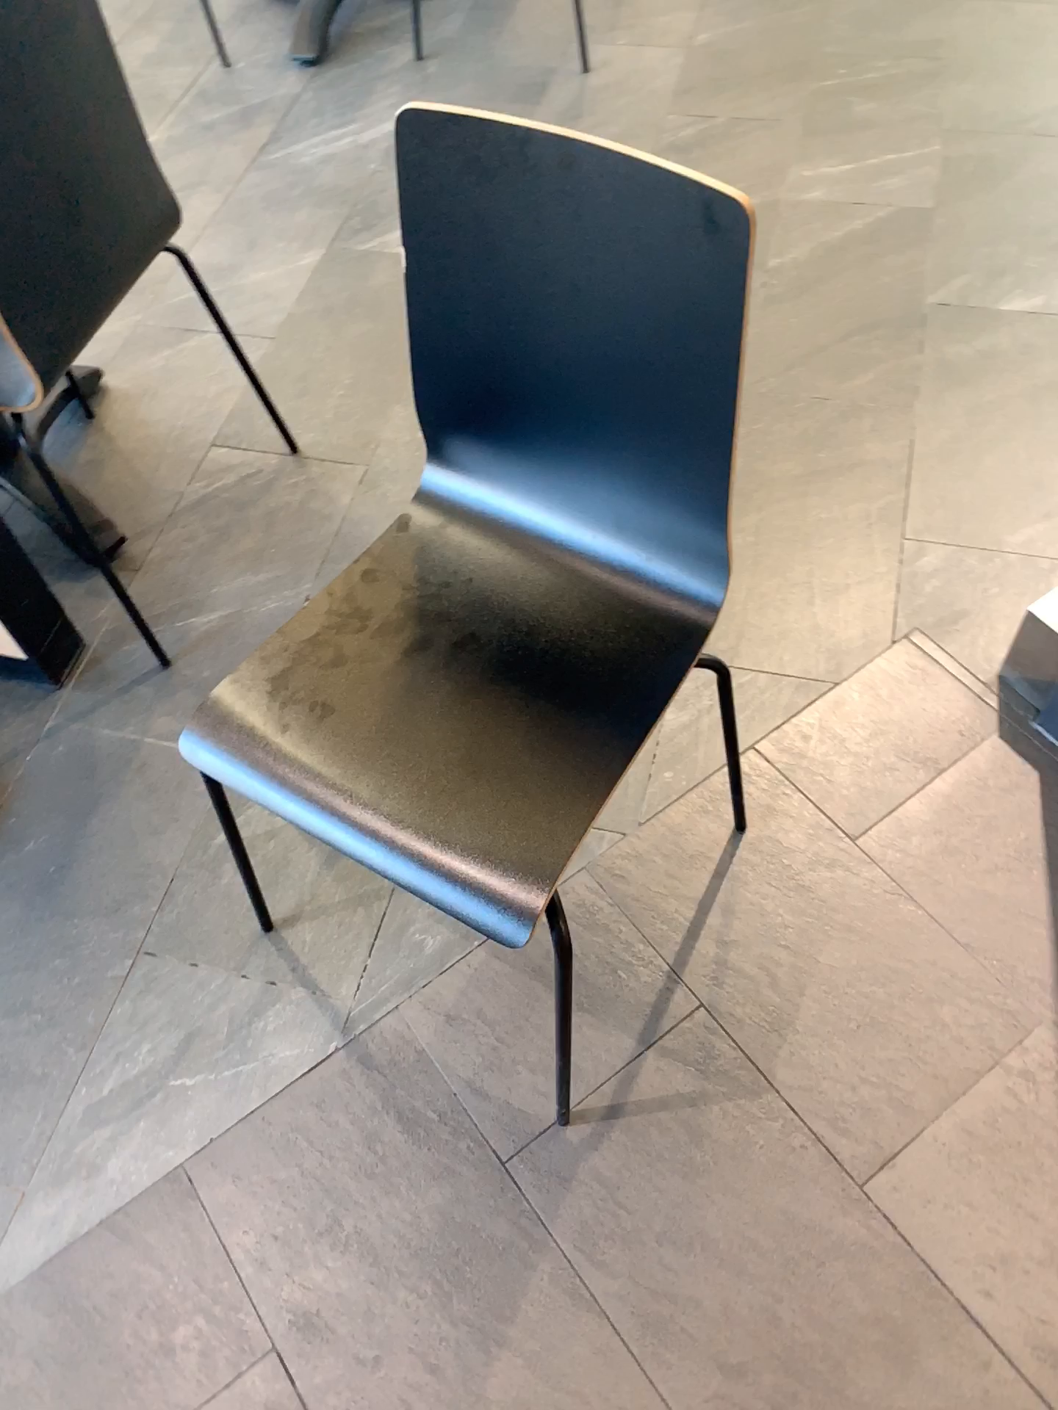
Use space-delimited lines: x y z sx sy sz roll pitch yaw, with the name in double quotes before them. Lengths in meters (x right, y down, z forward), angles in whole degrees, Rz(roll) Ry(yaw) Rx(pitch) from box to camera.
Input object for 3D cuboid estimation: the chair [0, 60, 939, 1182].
"chair" -0.058 -0.010 1.039 0.521 0.837 0.521 27 62 21
